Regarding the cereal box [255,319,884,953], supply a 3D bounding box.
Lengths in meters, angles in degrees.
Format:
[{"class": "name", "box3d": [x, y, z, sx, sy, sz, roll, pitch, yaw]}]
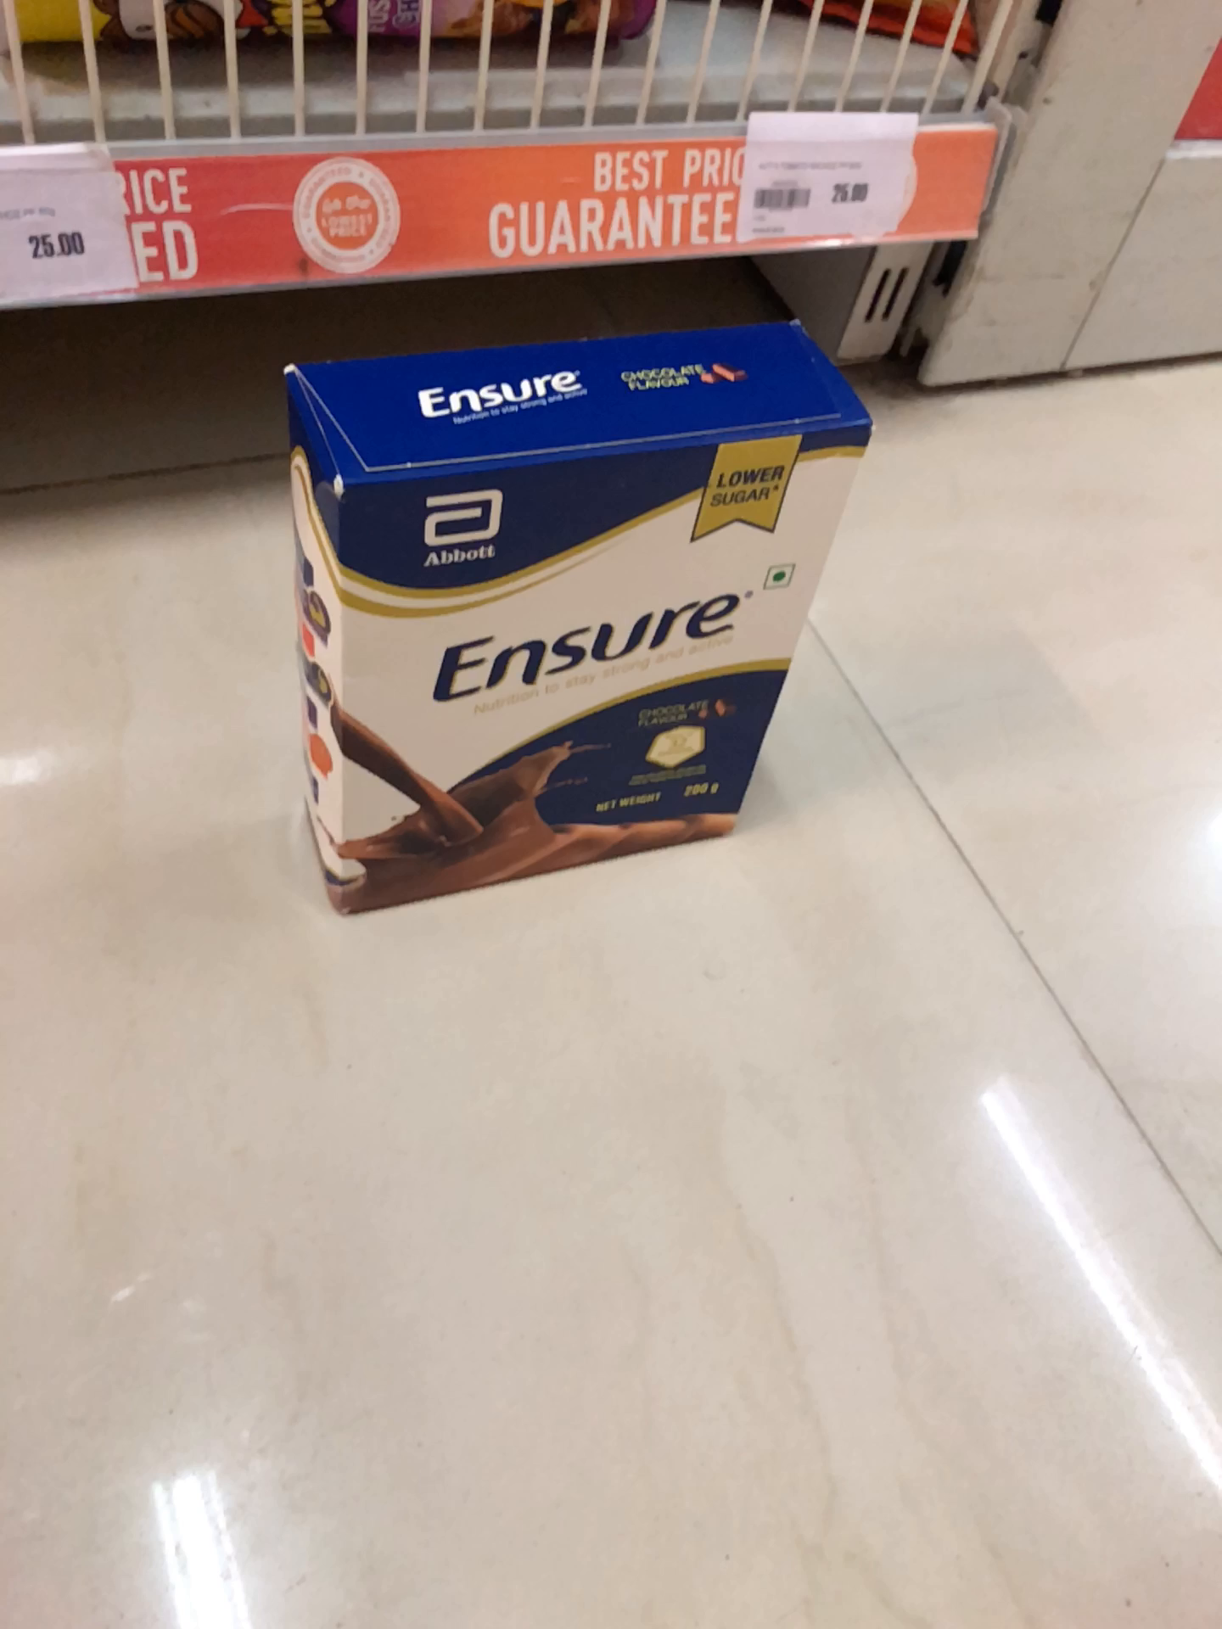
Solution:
[{"class": "cereal box", "box3d": [-0.022, -0.043, 0.387, 0.140, 0.179, 0.050, -11, 56, -20]}]
